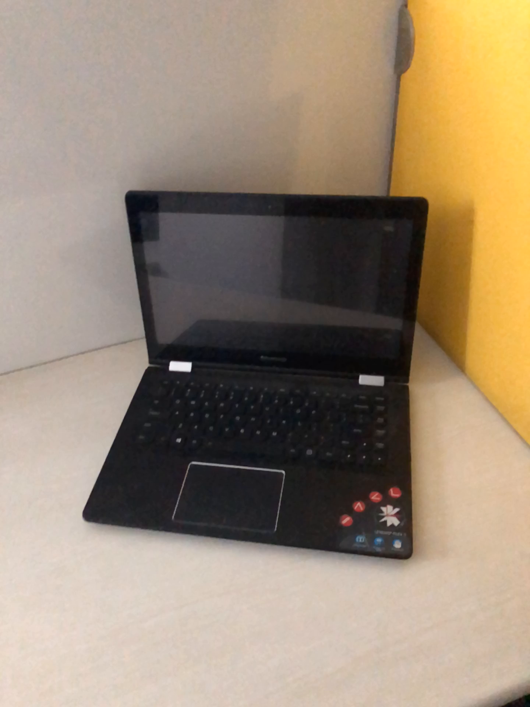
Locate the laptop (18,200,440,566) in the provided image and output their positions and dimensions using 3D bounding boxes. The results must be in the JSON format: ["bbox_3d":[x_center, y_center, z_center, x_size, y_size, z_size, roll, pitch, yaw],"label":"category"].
[{"bbox_3d":[-0.009,0.015,0.590,0.311,0.225,0.265,4,42,9],"label":"laptop"}]
